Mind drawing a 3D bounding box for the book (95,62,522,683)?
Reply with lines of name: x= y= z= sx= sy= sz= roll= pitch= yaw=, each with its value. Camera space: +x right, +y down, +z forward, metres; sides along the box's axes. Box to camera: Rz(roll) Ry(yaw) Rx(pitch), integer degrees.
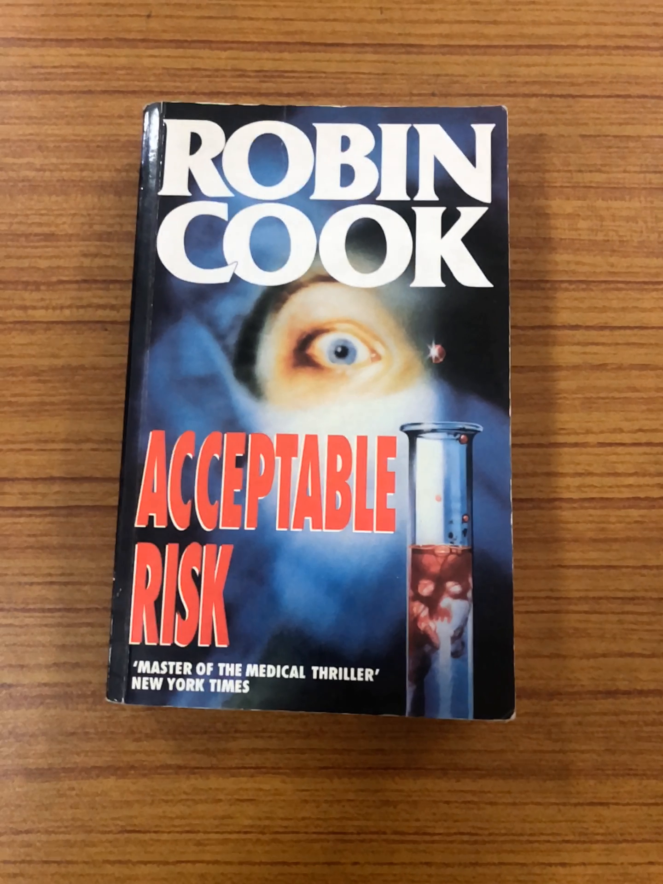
book: x=-0.003 y=-0.021 z=0.222 sx=0.110 sy=0.040 sz=0.170 roll=2 pitch=82 yaw=0
